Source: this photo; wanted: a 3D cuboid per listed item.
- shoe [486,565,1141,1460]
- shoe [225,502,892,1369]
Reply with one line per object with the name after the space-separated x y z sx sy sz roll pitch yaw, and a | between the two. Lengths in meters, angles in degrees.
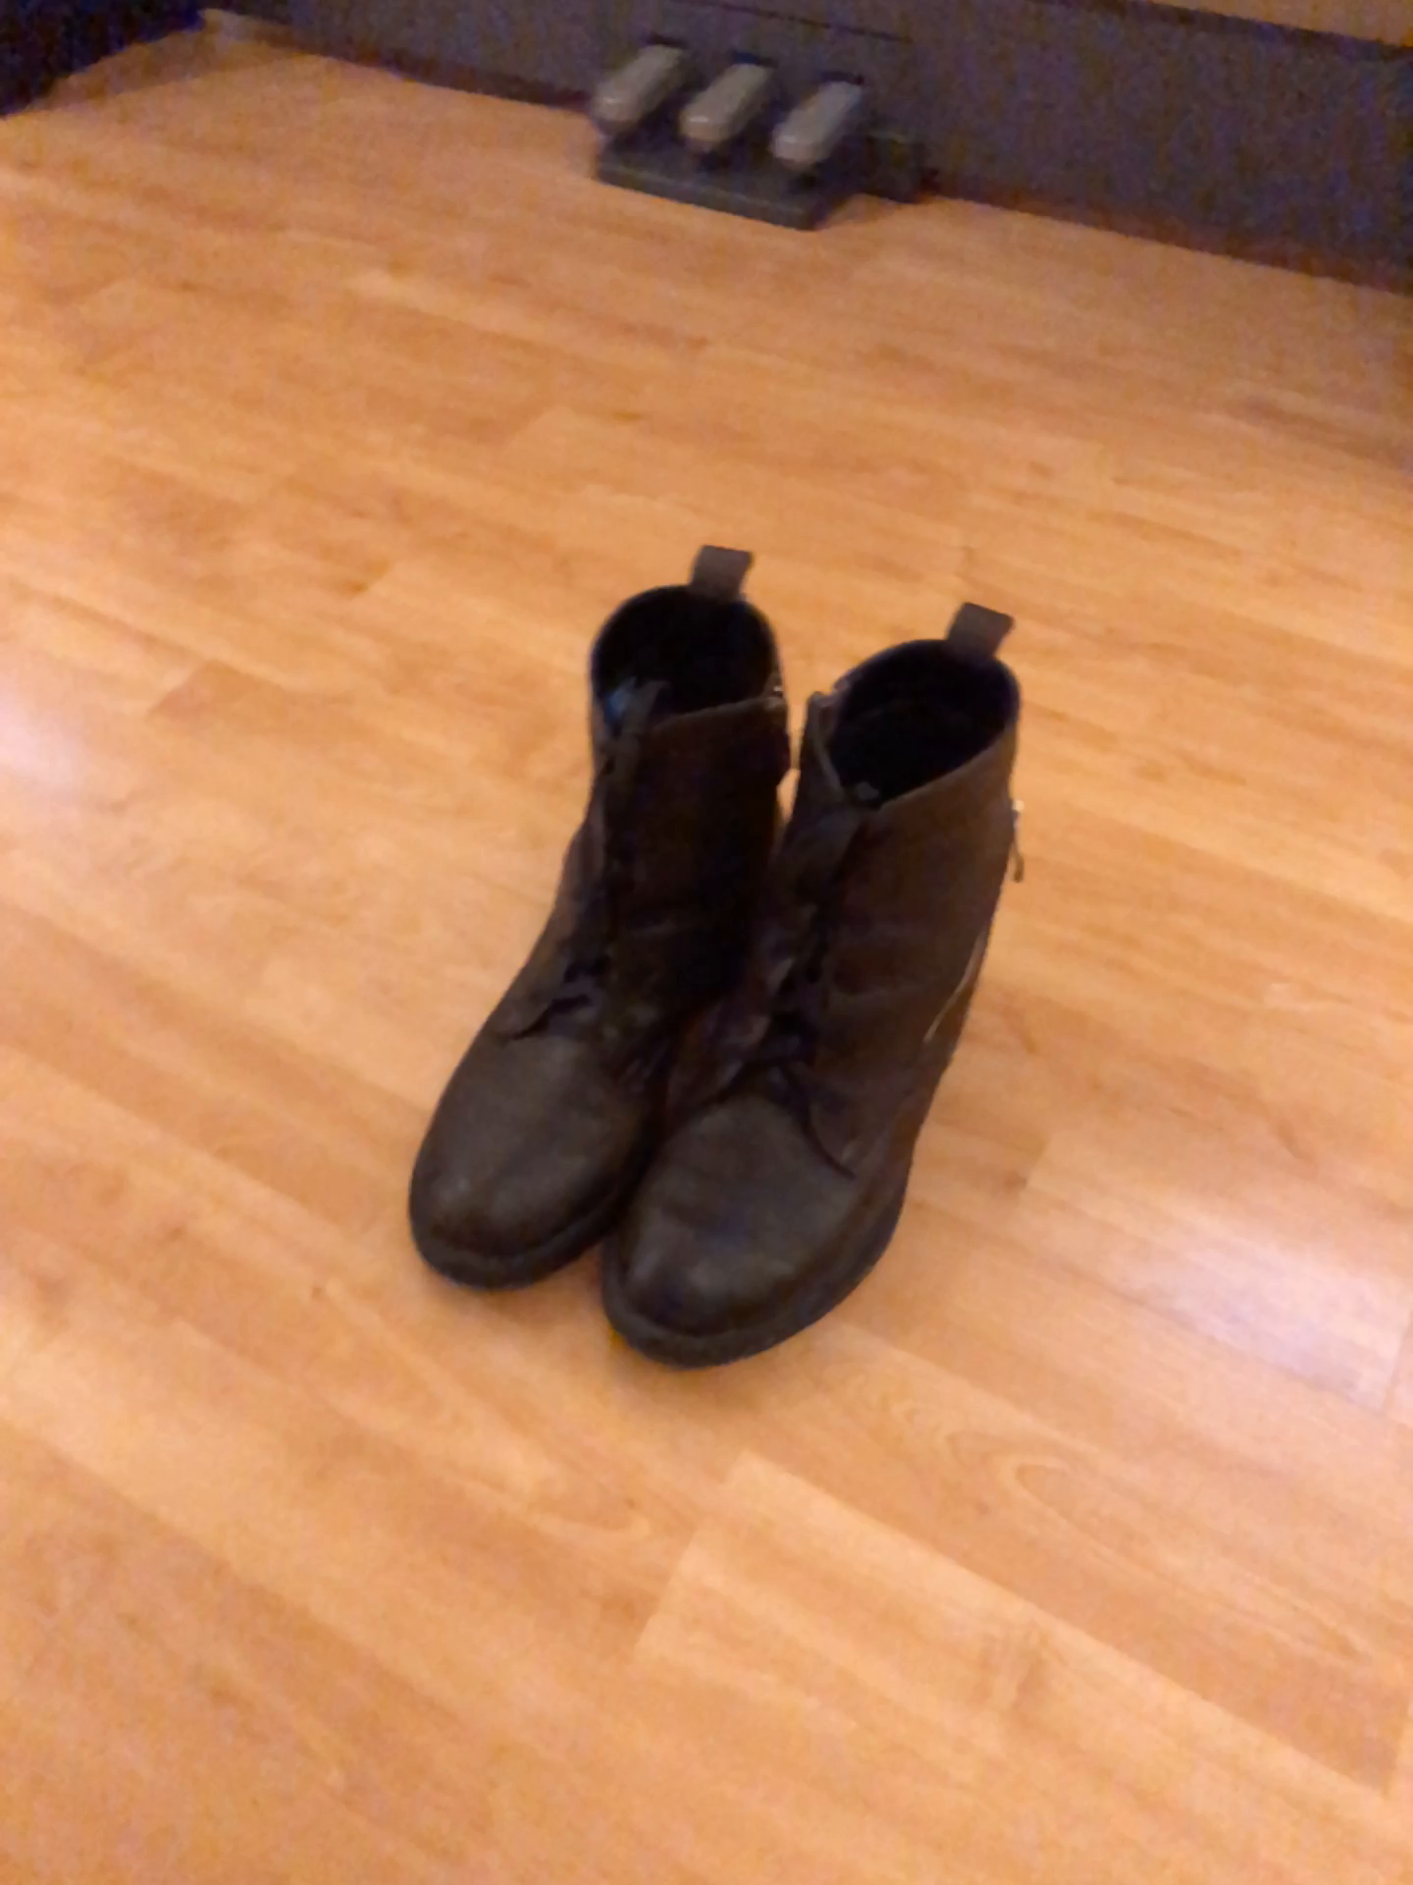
0.050 0.018 0.587 0.110 0.179 0.271 22 53 19 | shoe
-0.037 -0.011 0.603 0.110 0.179 0.271 20 52 18 | shoe
